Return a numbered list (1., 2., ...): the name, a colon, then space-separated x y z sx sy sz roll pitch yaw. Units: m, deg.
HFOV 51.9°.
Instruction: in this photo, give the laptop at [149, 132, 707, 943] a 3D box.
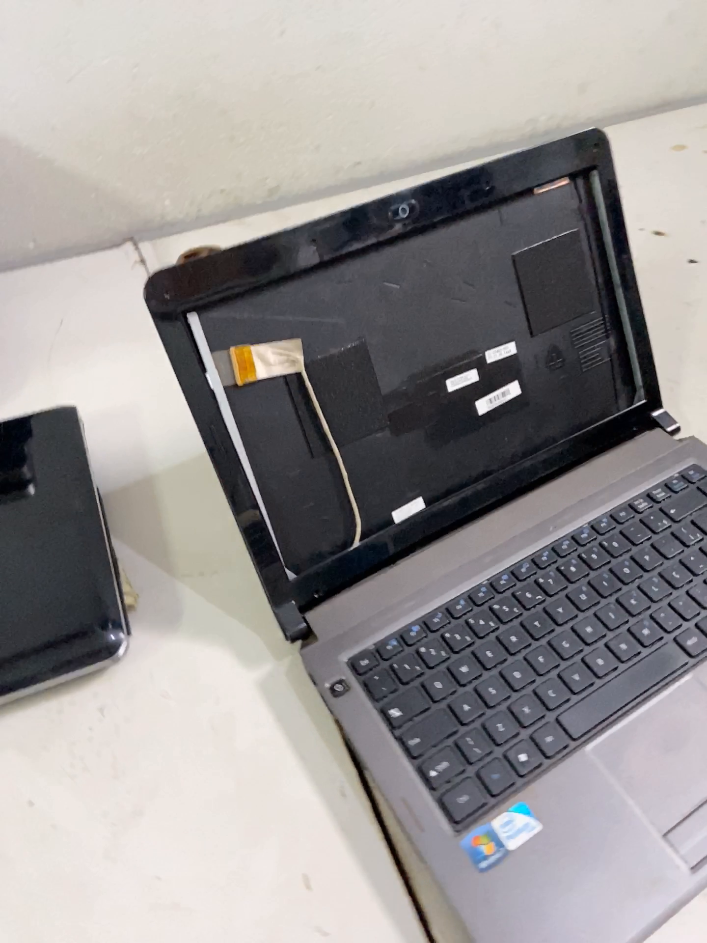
1. laptop: 0.128 -0.001 0.419 0.343 0.174 0.366 -25 51 -19
